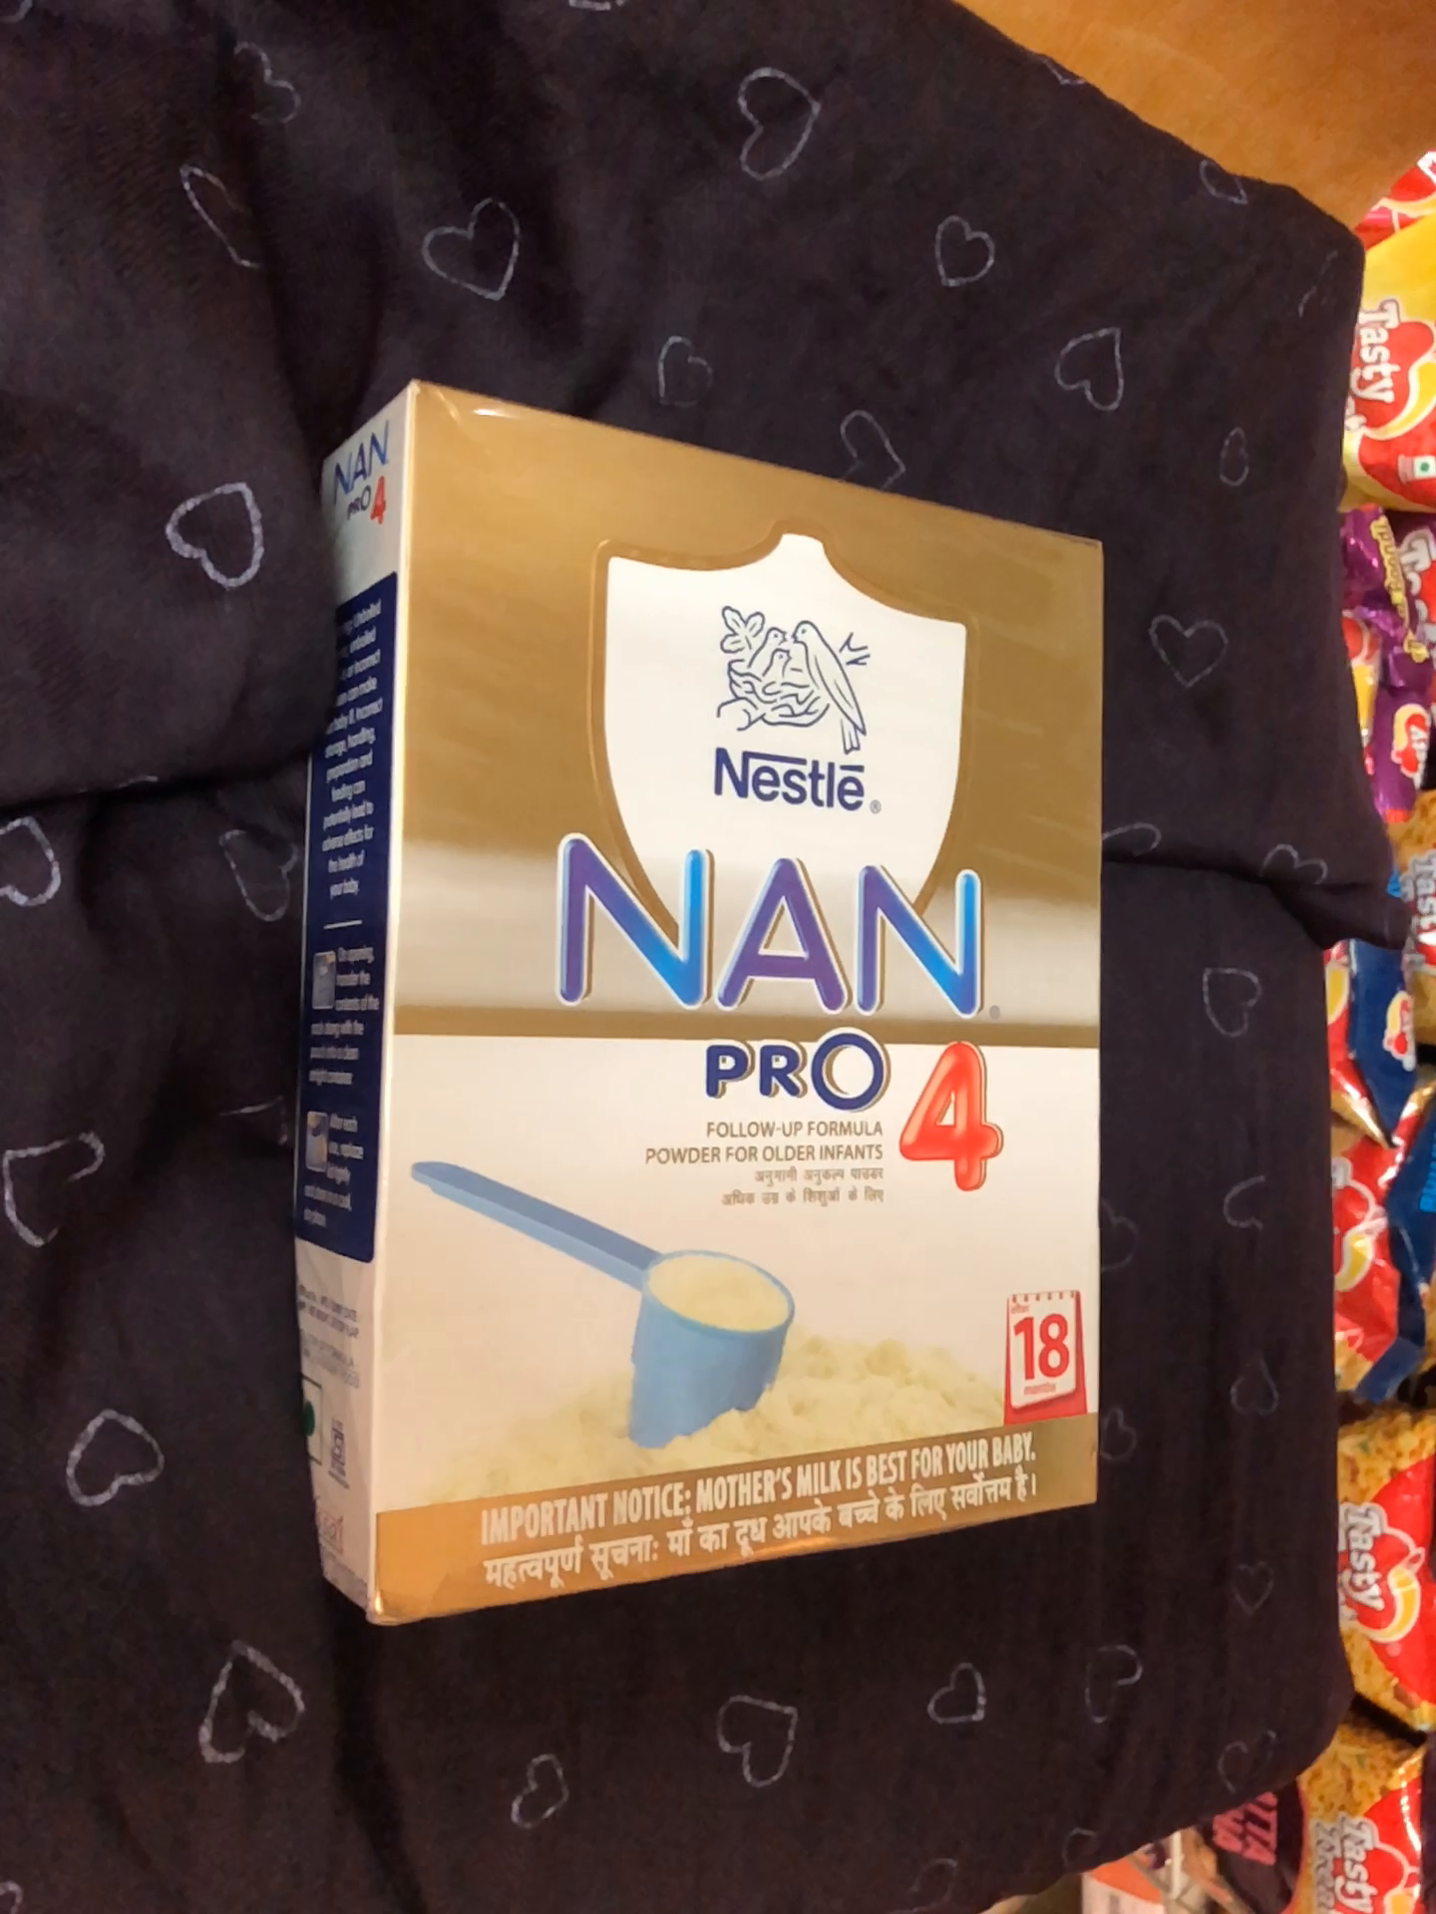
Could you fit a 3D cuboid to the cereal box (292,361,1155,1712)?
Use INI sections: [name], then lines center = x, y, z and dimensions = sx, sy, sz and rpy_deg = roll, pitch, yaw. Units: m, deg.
[cereal box]
center = 0.007, 0.014, 0.310
dimensions = 0.161, 0.050, 0.210
rpy_deg = 3, 86, -29
